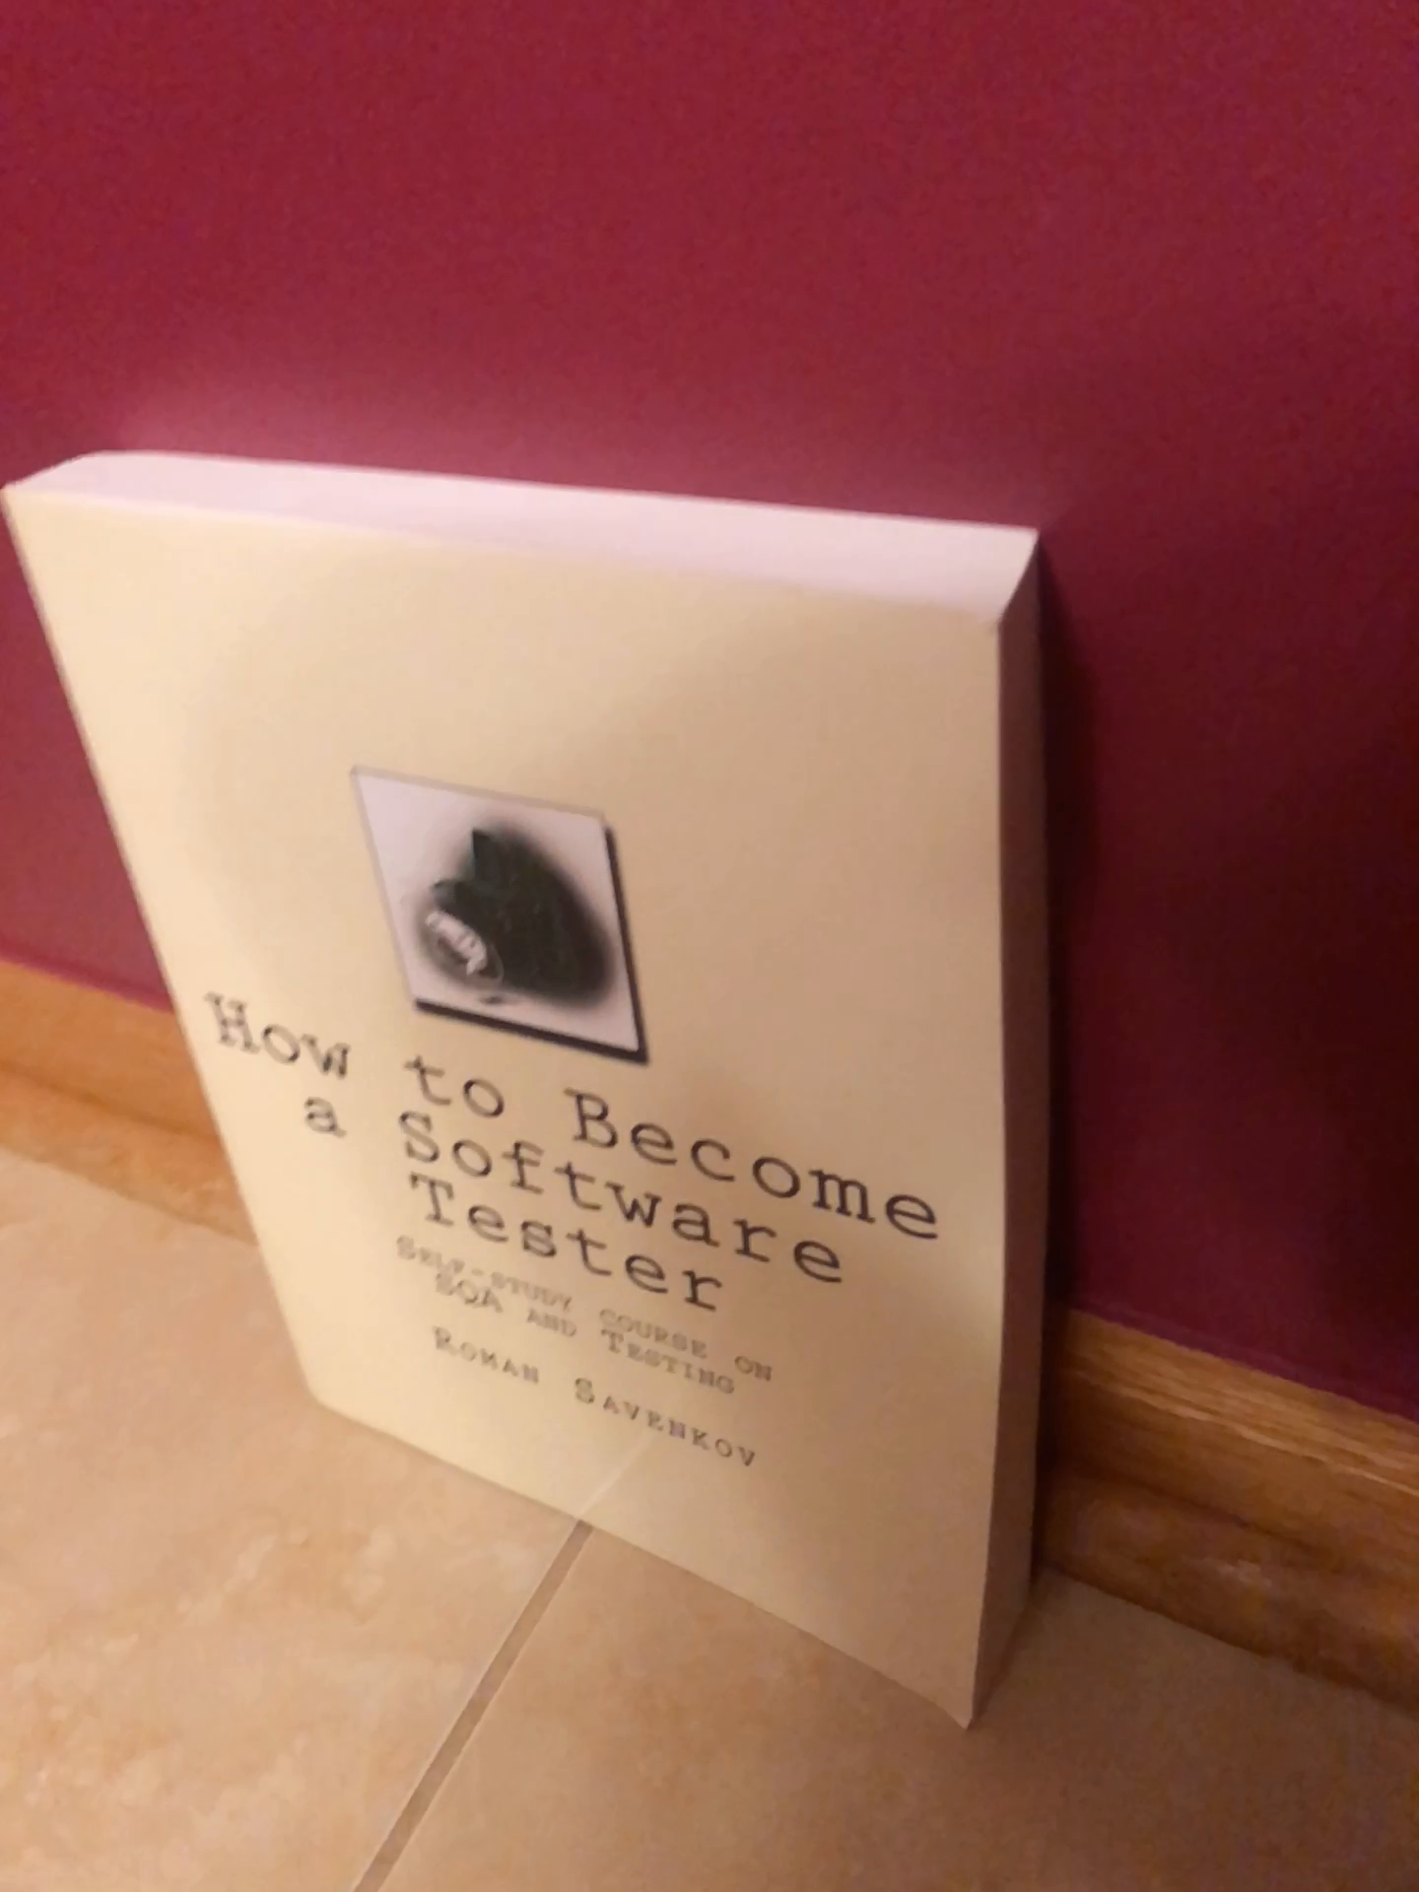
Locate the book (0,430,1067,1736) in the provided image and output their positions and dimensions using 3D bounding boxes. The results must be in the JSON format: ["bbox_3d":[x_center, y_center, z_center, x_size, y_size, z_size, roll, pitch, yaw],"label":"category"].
[{"bbox_3d":[-0.036,0.035,0.355,0.220,0.273,0.046,14,40,29],"label":"book"}]
